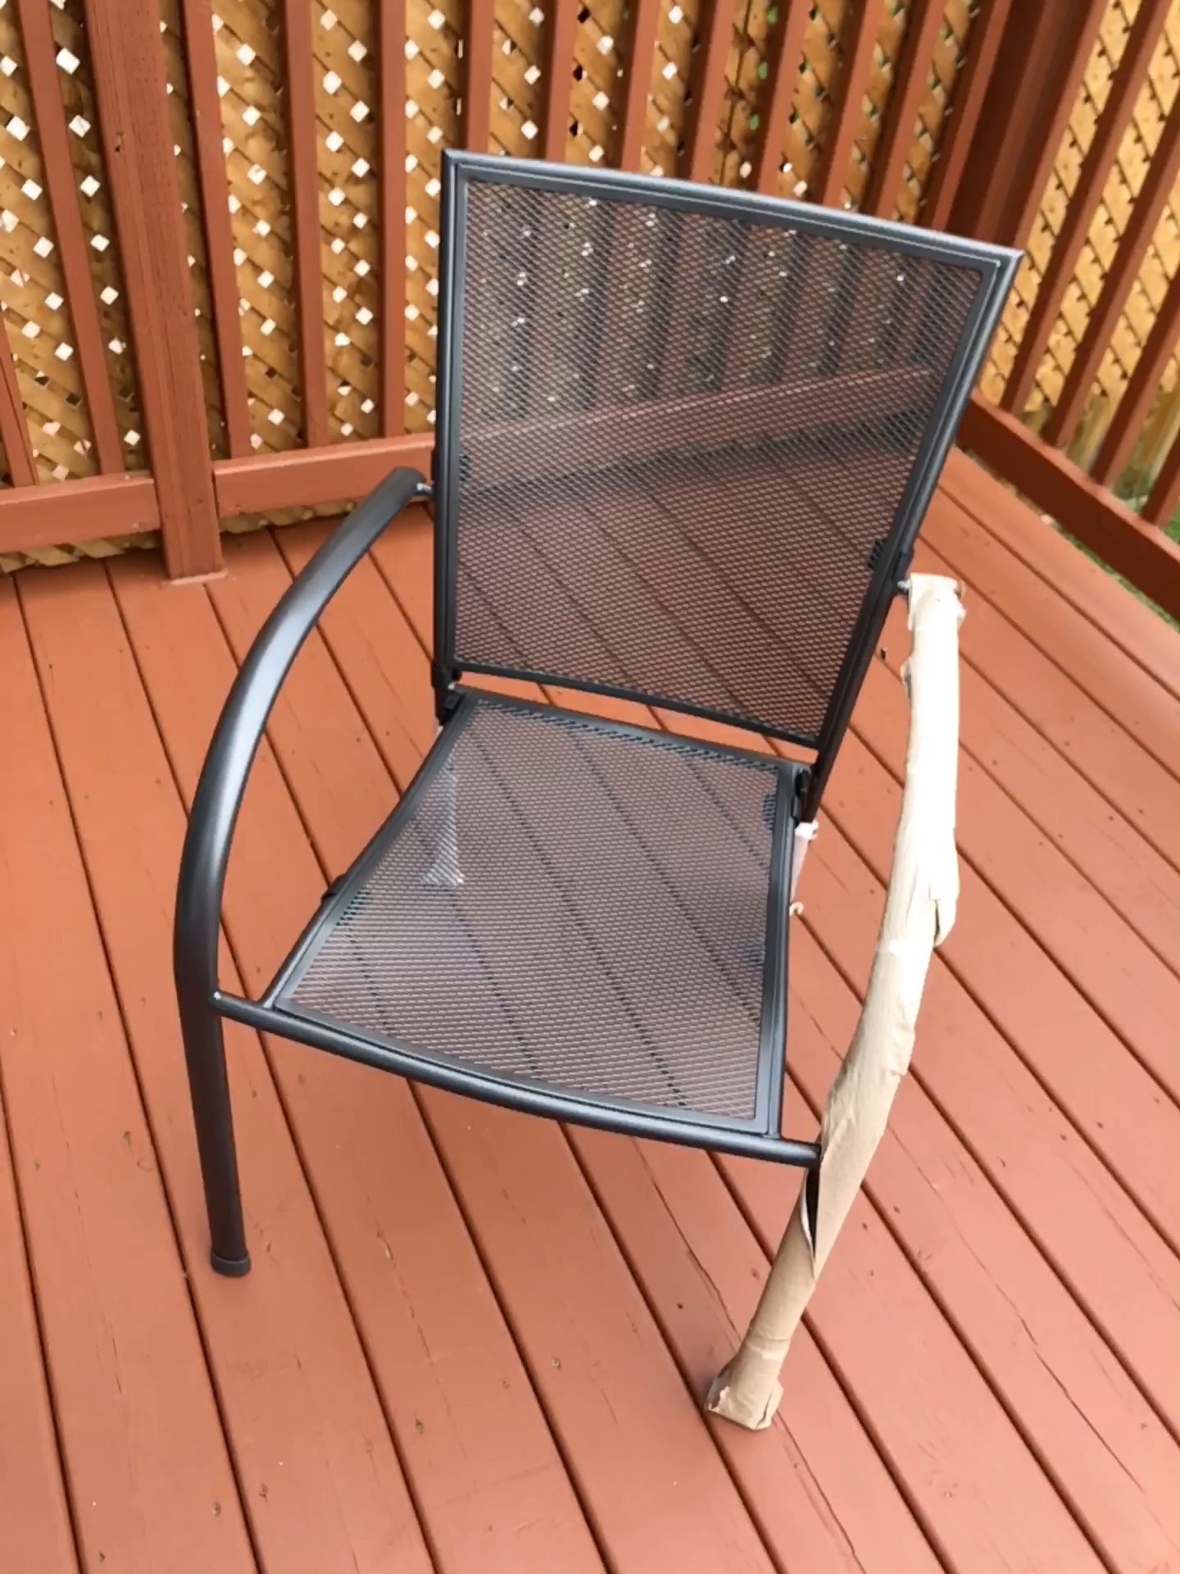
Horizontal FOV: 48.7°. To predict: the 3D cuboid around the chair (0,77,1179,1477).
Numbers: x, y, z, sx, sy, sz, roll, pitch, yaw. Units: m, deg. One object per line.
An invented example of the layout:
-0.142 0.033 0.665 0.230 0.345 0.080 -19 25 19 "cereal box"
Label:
0.004 0.020 1.146 0.600 0.926 0.652 13 44 6 "chair"
